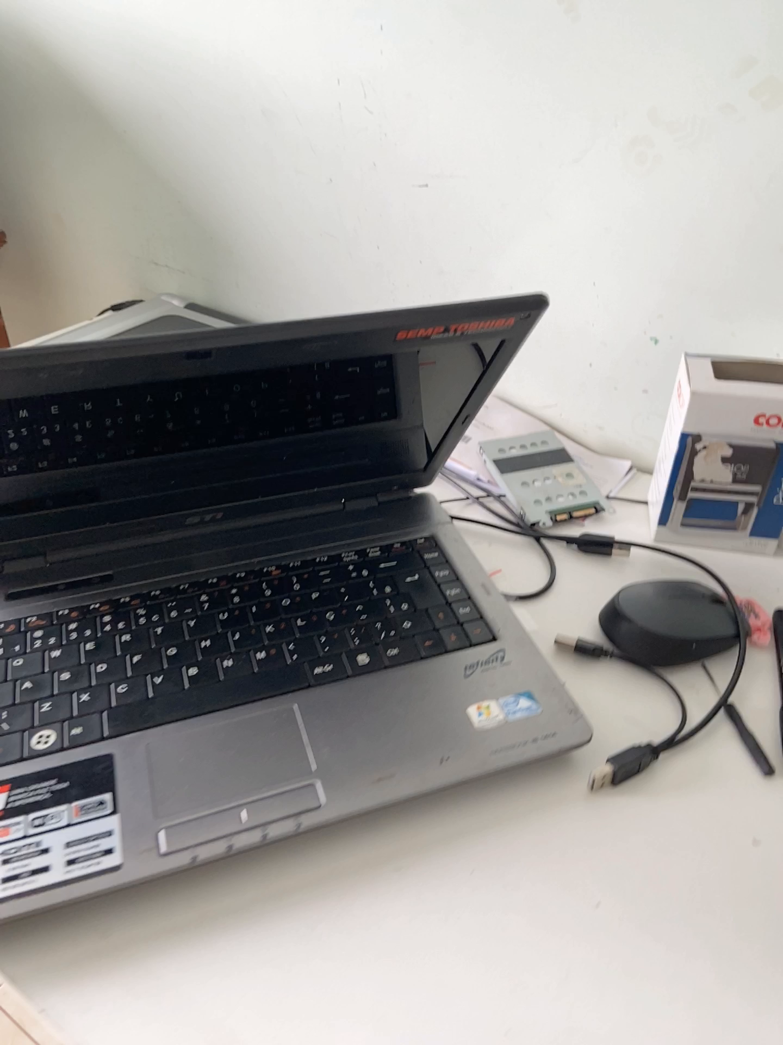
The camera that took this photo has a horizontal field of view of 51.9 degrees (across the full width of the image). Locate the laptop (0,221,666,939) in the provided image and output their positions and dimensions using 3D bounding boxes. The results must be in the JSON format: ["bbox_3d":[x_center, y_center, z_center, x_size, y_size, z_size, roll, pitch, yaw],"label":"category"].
[{"bbox_3d":[-0.093,-0.007,0.419,0.342,0.200,0.242,-11,38,-16],"label":"laptop"}]
